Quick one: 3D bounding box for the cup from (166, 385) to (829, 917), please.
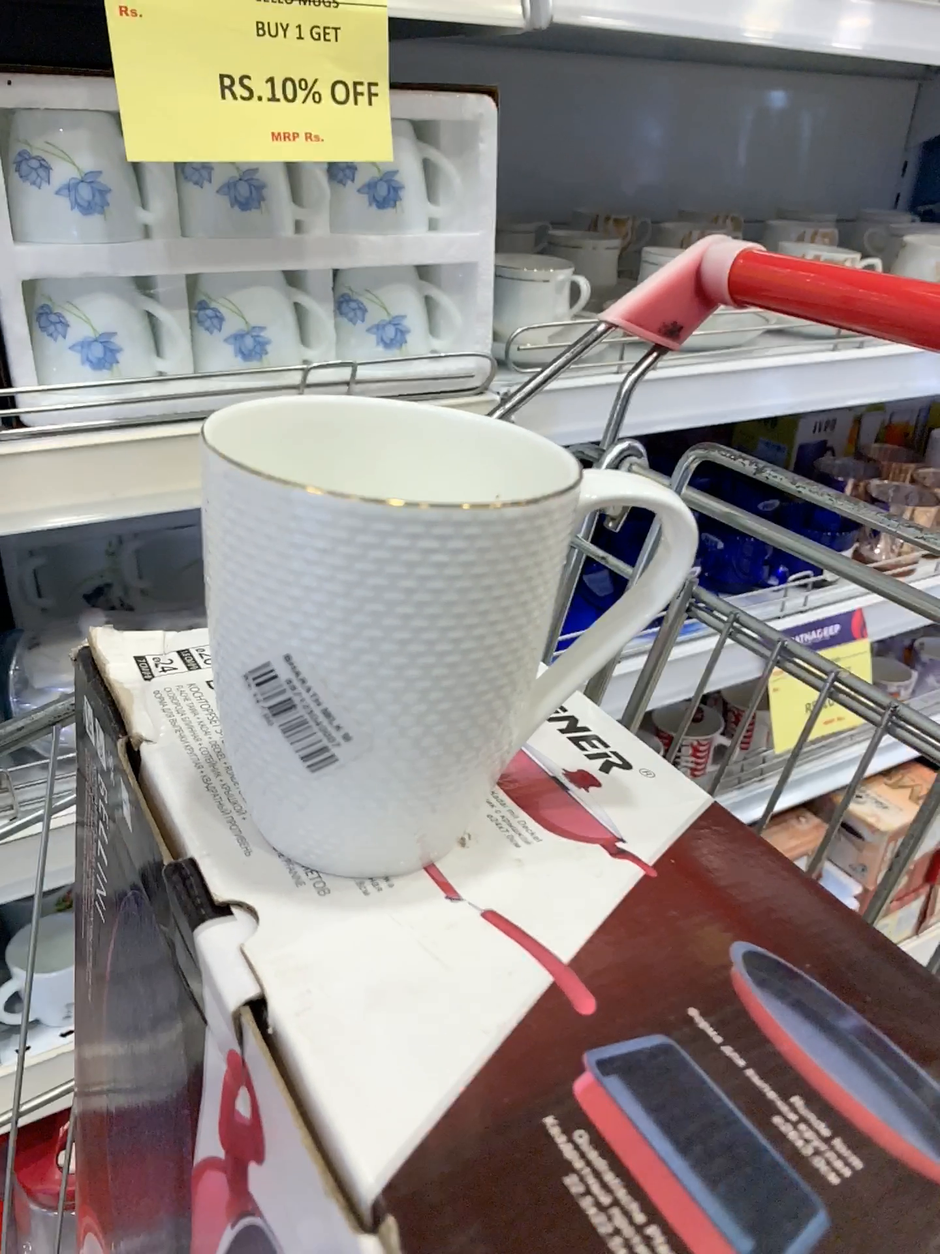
[{"bbox_3d":[-0.004,-0.004,0.226,0.120,0.080,0.090,-4,29,-19],"label":"cup"}]
